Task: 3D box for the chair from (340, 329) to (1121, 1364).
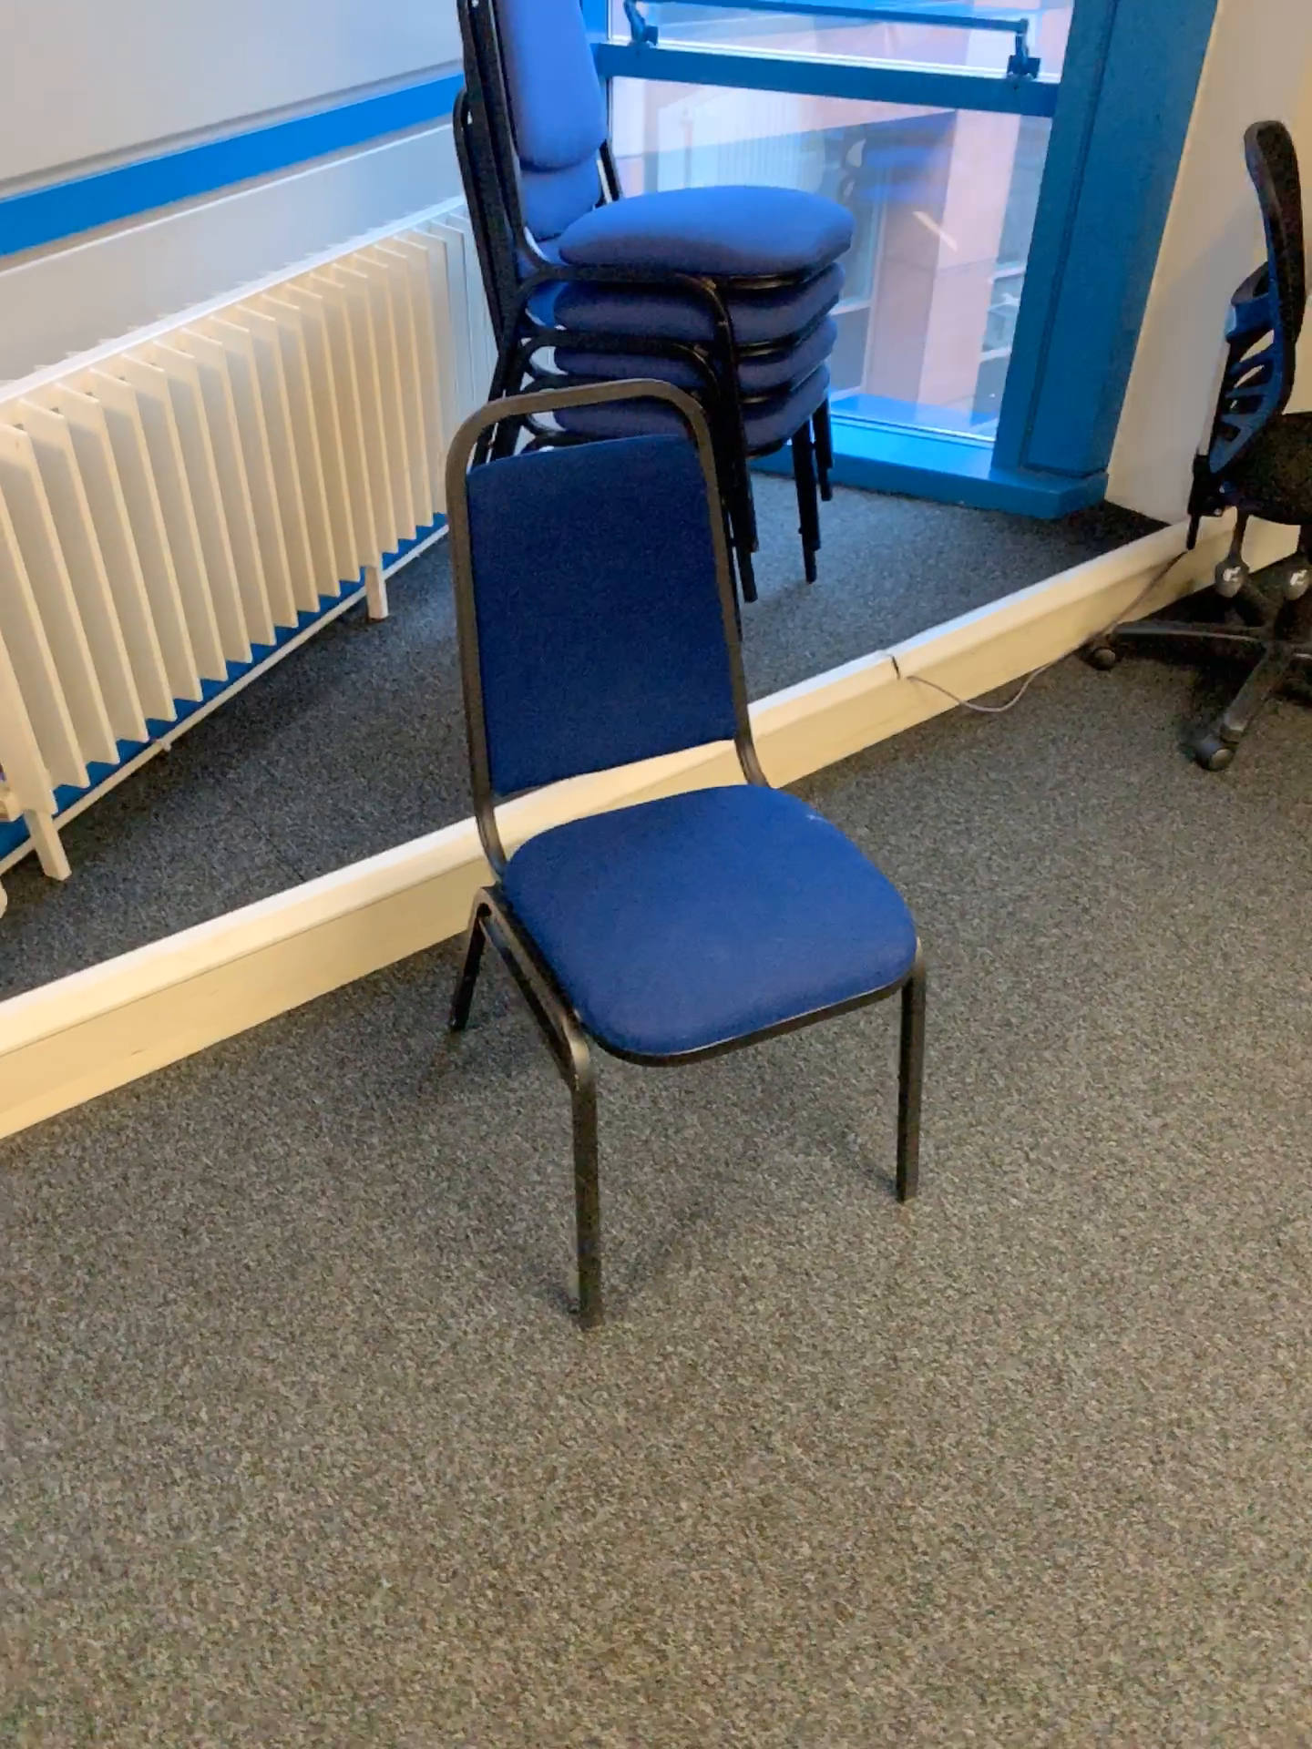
[{"bbox_3d":[0.022,-0.040,1.434,0.473,0.843,0.579,-16,41,-20],"label":"chair"}]
